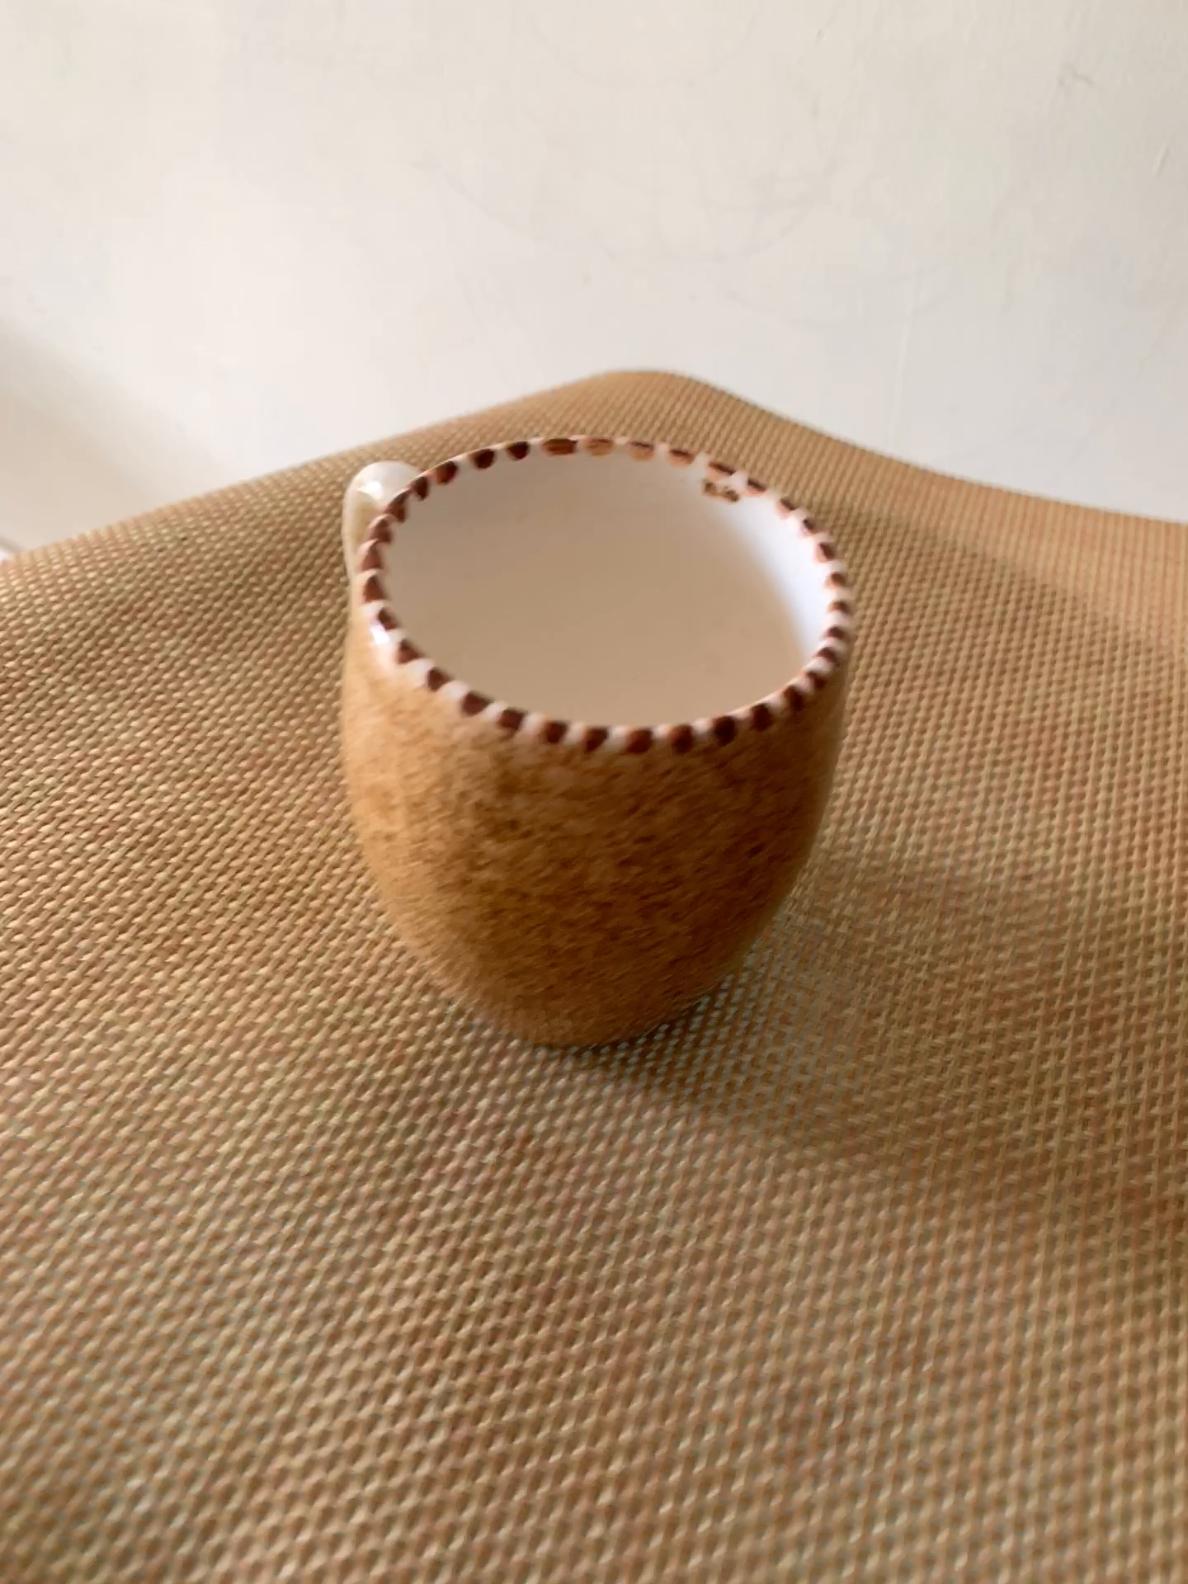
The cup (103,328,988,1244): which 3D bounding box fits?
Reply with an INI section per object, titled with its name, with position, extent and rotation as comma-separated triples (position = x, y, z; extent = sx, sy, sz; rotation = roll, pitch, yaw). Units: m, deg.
[cup]
position = -0.012, -0.007, 0.177
extent = 0.070, 0.069, 0.090
rotation = -24, 52, -26
